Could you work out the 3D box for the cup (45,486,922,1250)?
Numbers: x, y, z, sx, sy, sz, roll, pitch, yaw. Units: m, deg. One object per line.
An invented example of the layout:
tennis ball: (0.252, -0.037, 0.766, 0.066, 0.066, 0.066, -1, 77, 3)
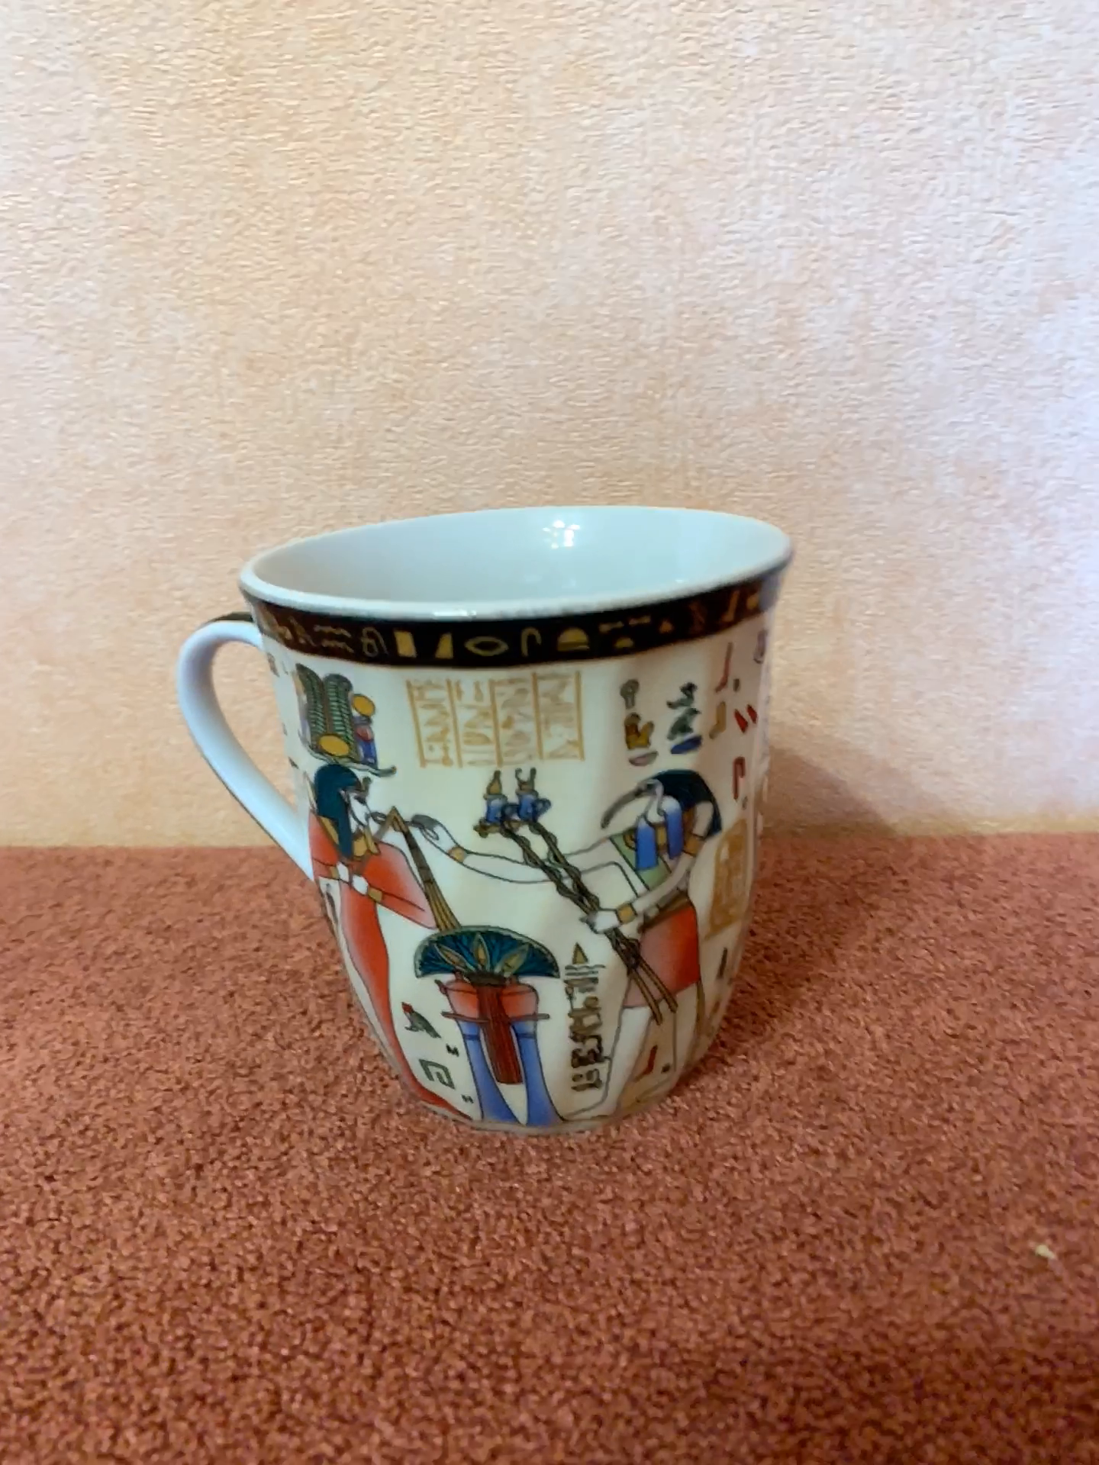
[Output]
cup: (-0.004, 0.008, 0.201, 0.116, 0.087, 0.086, 6, 23, 26)
